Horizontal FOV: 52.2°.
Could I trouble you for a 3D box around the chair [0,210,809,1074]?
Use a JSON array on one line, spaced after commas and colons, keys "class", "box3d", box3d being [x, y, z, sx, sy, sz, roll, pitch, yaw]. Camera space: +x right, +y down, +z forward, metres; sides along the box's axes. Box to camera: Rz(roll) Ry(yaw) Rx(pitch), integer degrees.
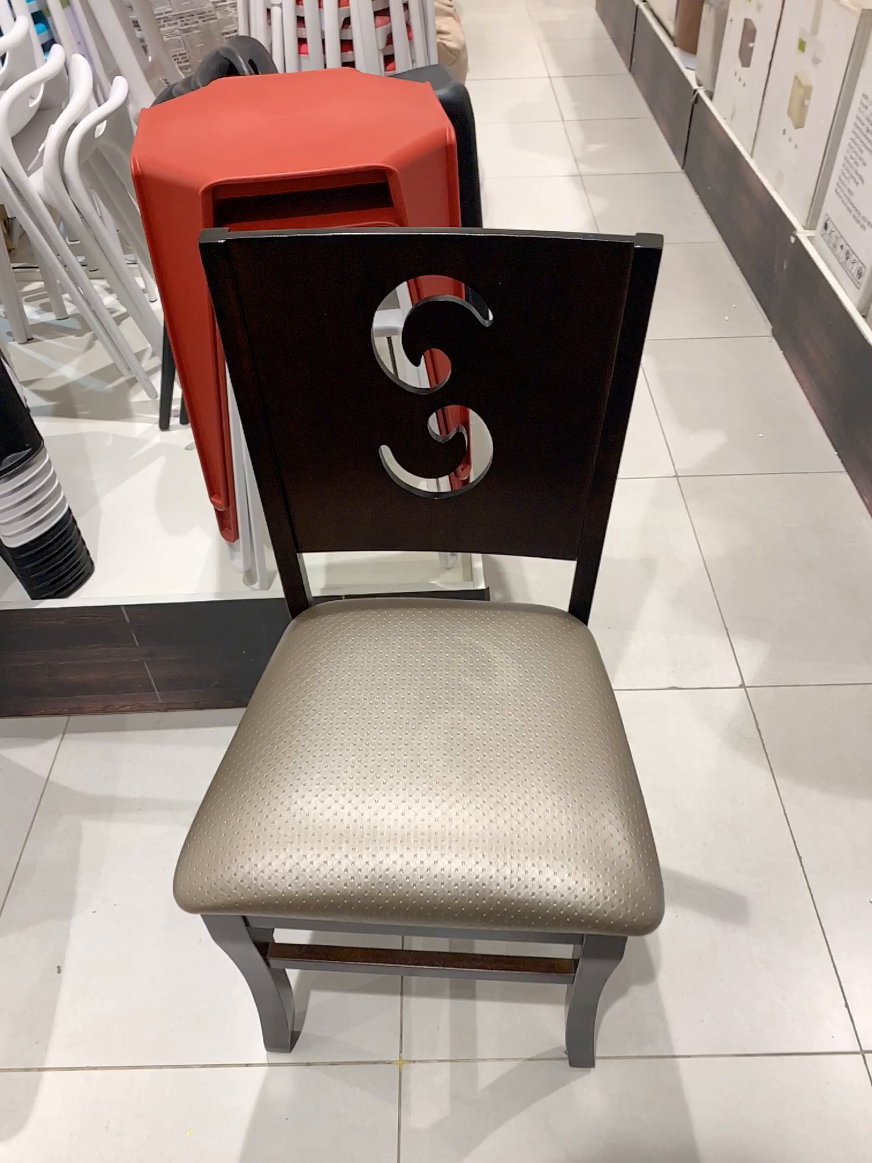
[{"class": "chair", "box3d": [-0.020, 0.115, 1.000, 0.500, 0.847, 0.522, 1, 44, 2]}]
